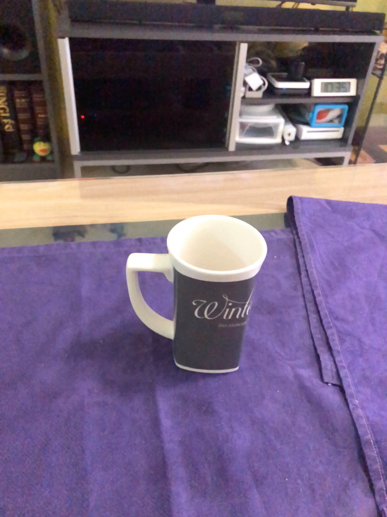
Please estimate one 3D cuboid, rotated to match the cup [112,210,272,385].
[{"bbox_3d":[-0.003,0.031,0.330,0.100,0.109,0.070,3,37,-1],"label":"cup"}]
